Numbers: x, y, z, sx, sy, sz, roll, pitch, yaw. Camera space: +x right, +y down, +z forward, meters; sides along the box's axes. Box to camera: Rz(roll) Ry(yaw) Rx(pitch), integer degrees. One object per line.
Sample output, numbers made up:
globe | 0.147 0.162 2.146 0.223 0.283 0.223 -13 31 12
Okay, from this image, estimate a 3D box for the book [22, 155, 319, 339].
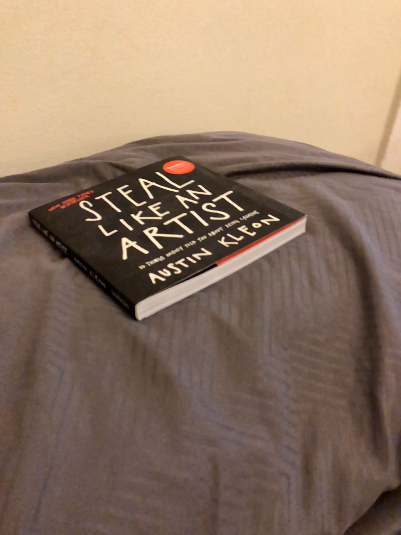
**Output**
book | -0.025 -0.034 0.339 0.161 0.020 0.160 -27 44 -31
